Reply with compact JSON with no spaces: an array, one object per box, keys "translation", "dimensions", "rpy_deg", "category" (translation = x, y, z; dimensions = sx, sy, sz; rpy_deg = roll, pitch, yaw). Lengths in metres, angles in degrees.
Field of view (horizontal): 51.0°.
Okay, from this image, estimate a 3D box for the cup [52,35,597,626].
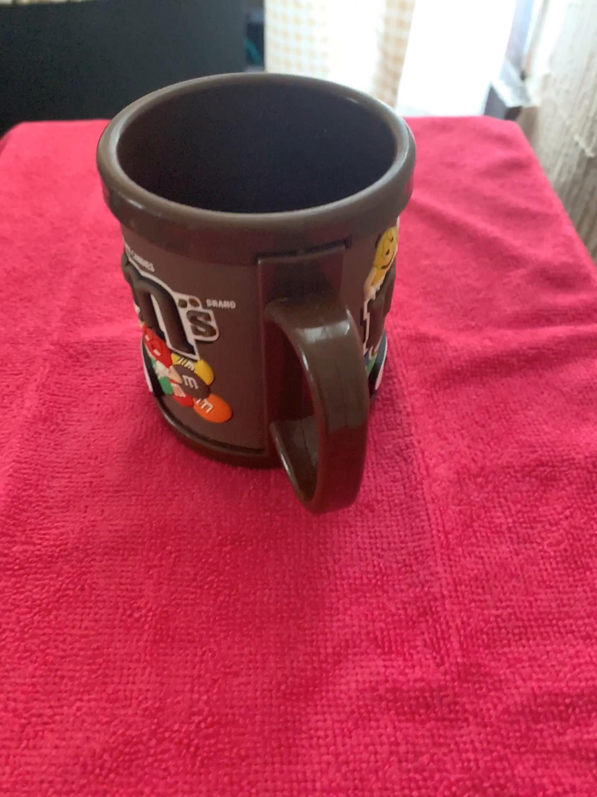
[{"translation":[-0.007,-0.025,0.180],"dimensions":[0.090,0.099,0.121],"rpy_deg":[-13,50,-12],"category":"cup"}]
